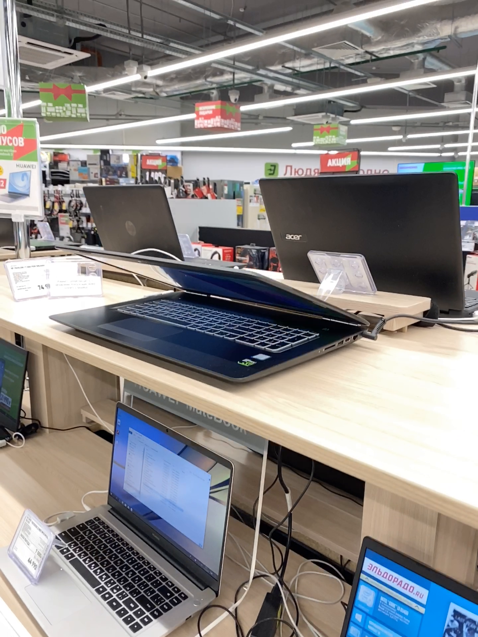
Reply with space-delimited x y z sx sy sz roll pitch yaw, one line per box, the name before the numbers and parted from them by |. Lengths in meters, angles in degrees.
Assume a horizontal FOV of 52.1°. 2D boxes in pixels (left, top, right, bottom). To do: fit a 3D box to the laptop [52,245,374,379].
laptop | -0.055 -0.041 0.732 0.414 0.095 0.268 12 18 42
